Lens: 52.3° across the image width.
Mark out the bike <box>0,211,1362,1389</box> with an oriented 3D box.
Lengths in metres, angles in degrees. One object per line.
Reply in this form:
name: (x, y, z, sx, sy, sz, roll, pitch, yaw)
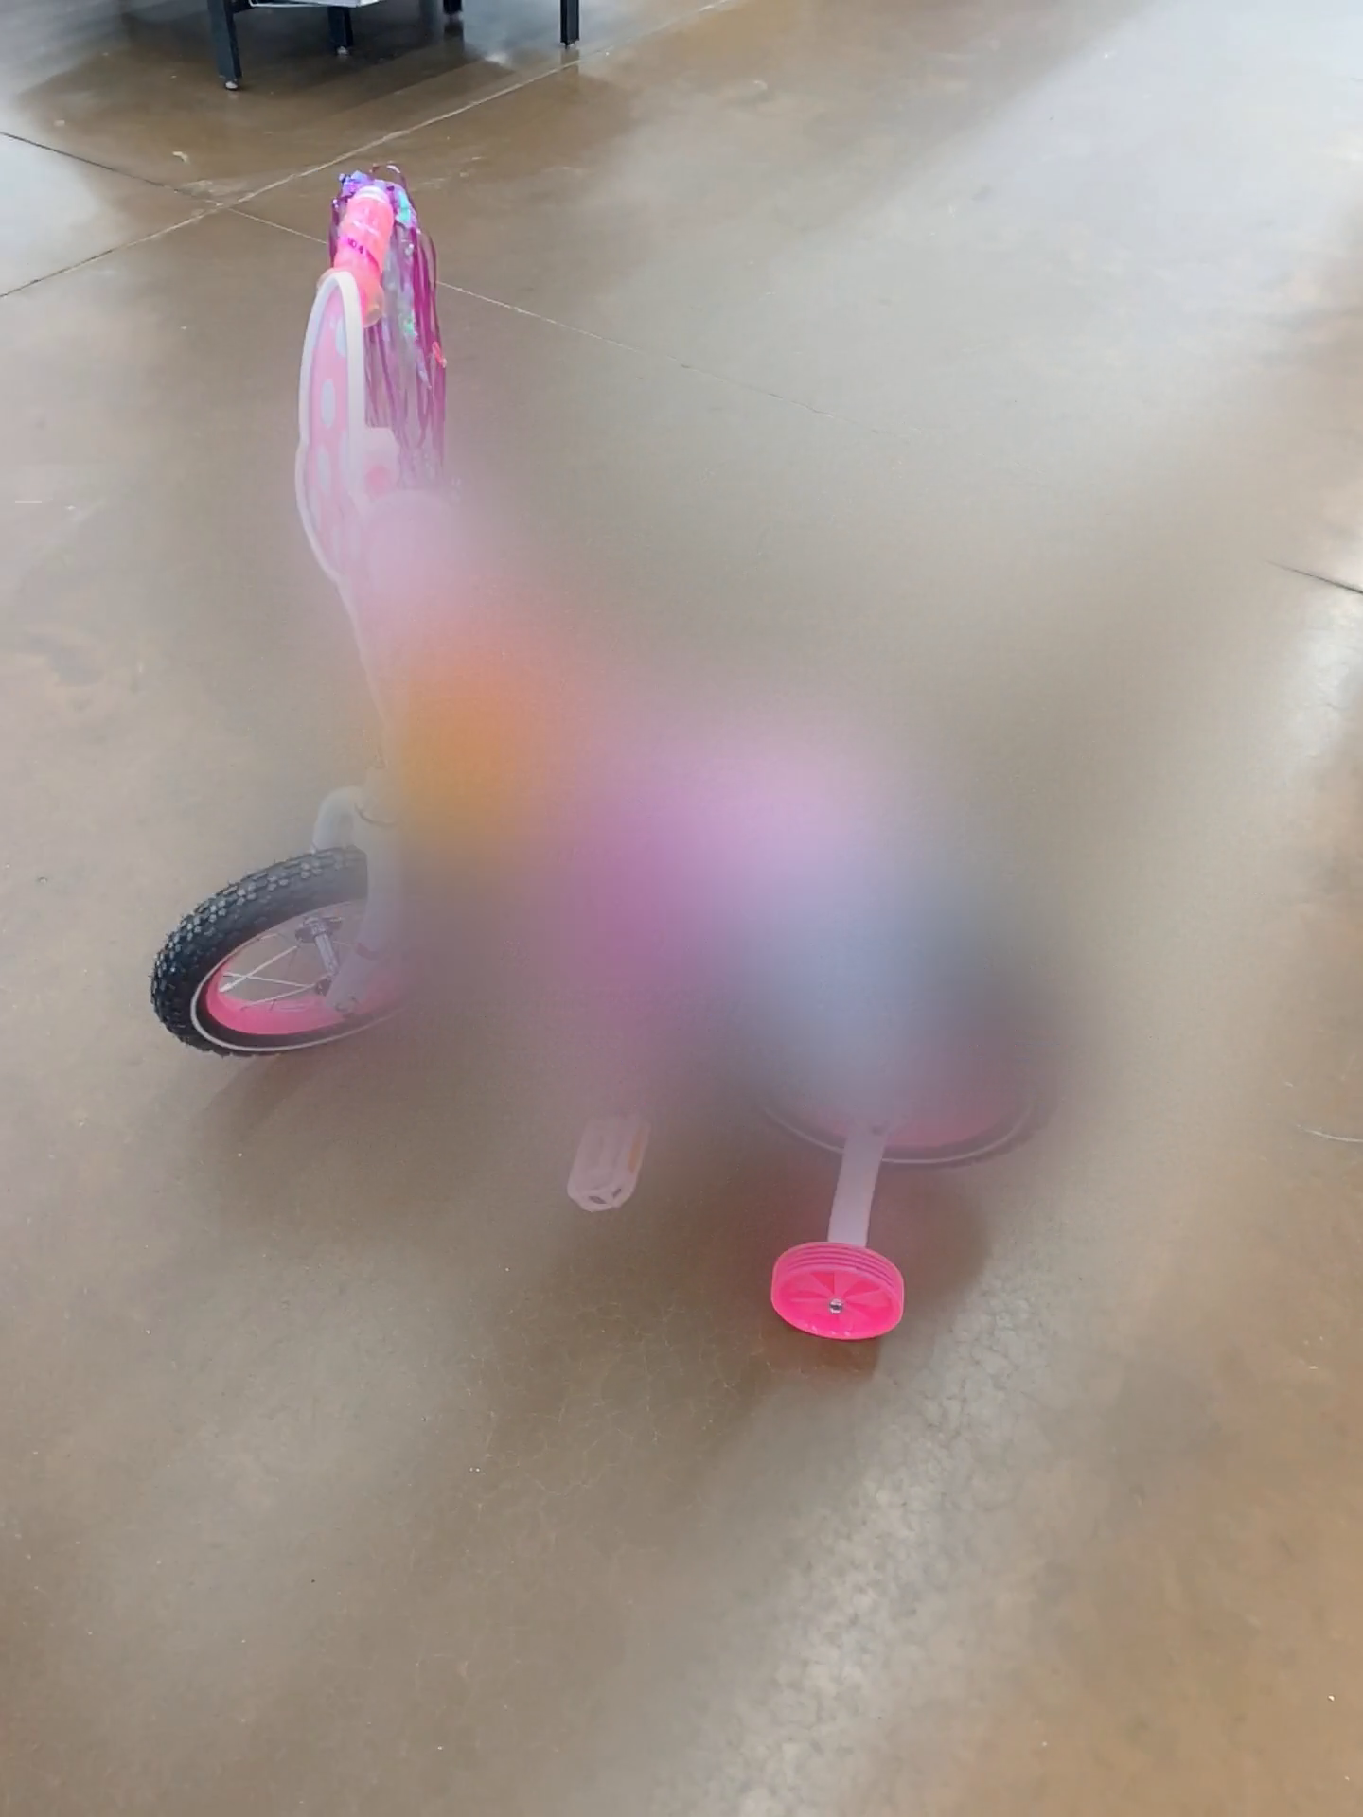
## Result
bike: (-0.042, -0.073, 1.042, 0.724, 0.648, 0.503, 5, 46, 4)
